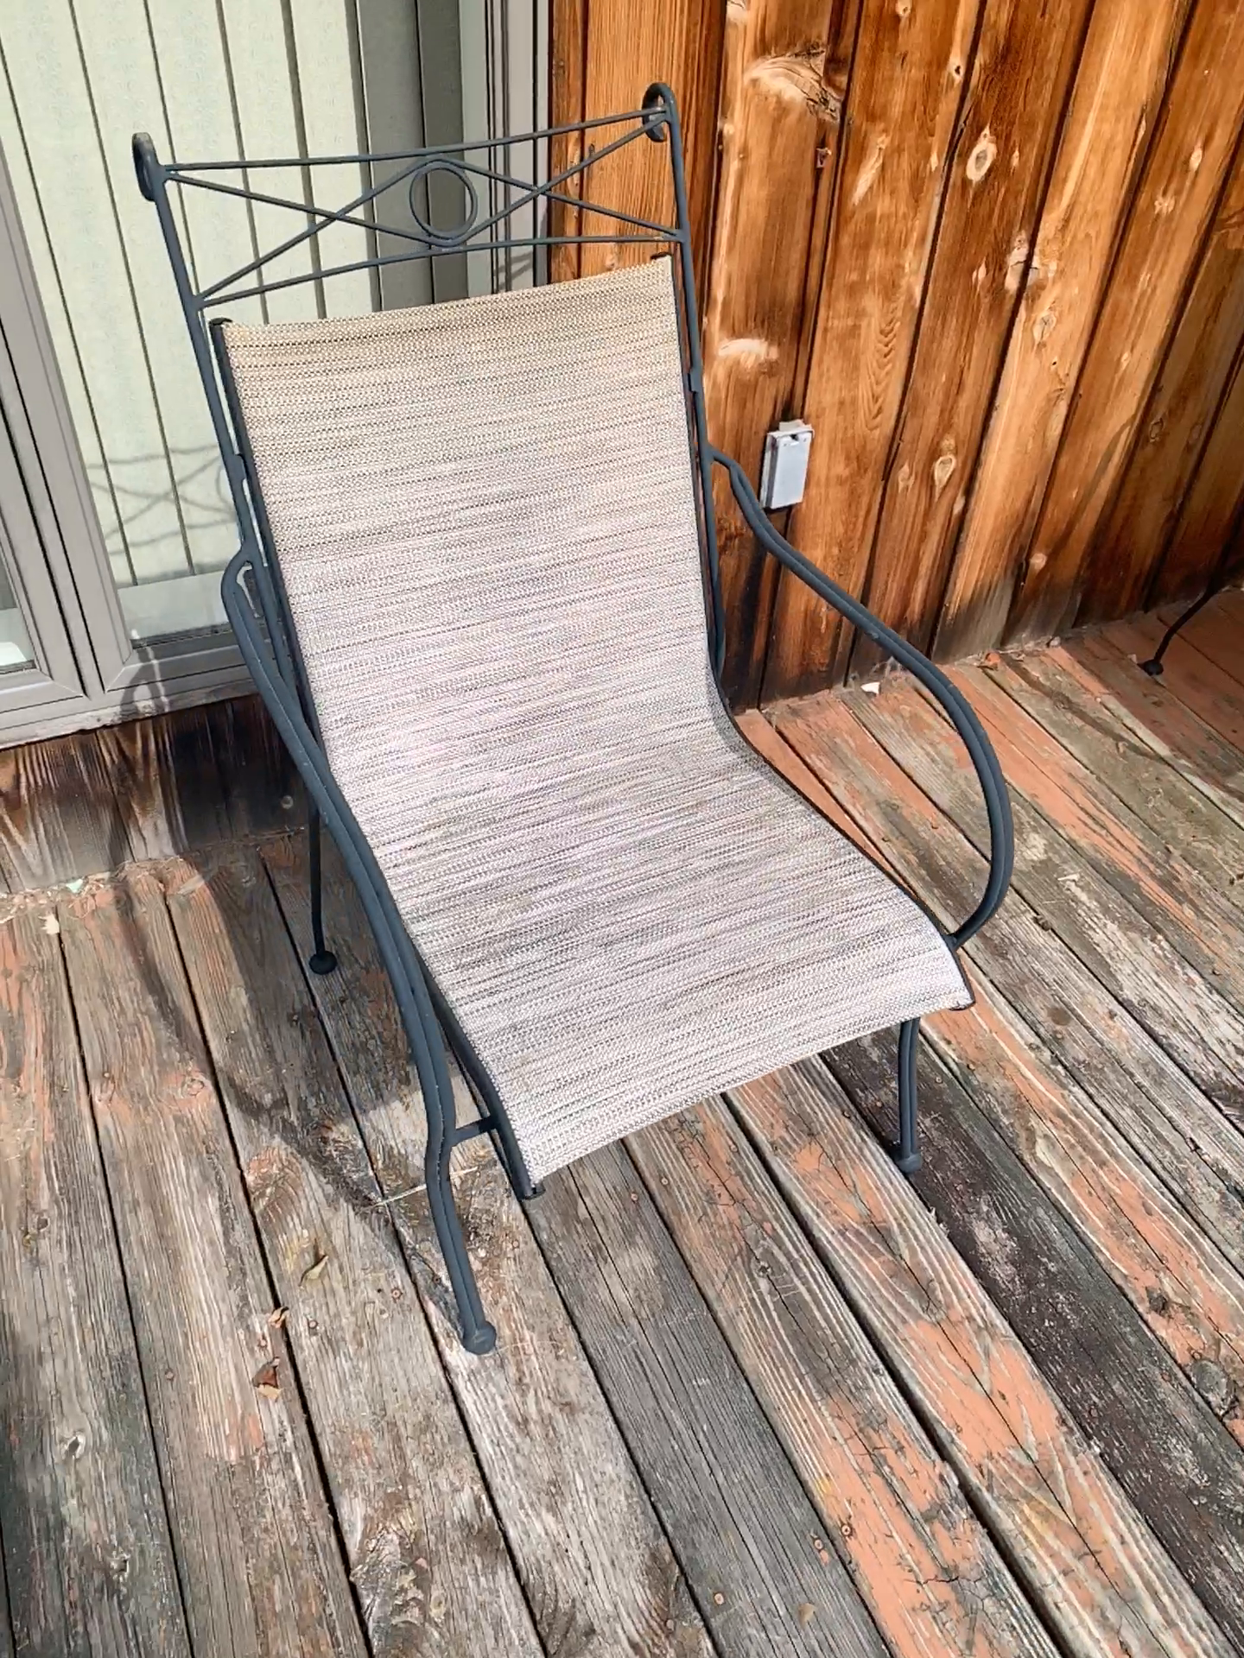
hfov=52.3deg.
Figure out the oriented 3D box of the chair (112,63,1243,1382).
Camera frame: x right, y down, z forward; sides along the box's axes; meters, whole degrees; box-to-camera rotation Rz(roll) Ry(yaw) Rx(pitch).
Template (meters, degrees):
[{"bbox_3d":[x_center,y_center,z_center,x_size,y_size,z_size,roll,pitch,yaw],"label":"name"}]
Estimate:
[{"bbox_3d":[-0.004,-0.105,1.219,0.611,0.945,0.653,-17,46,-21],"label":"chair"}]
